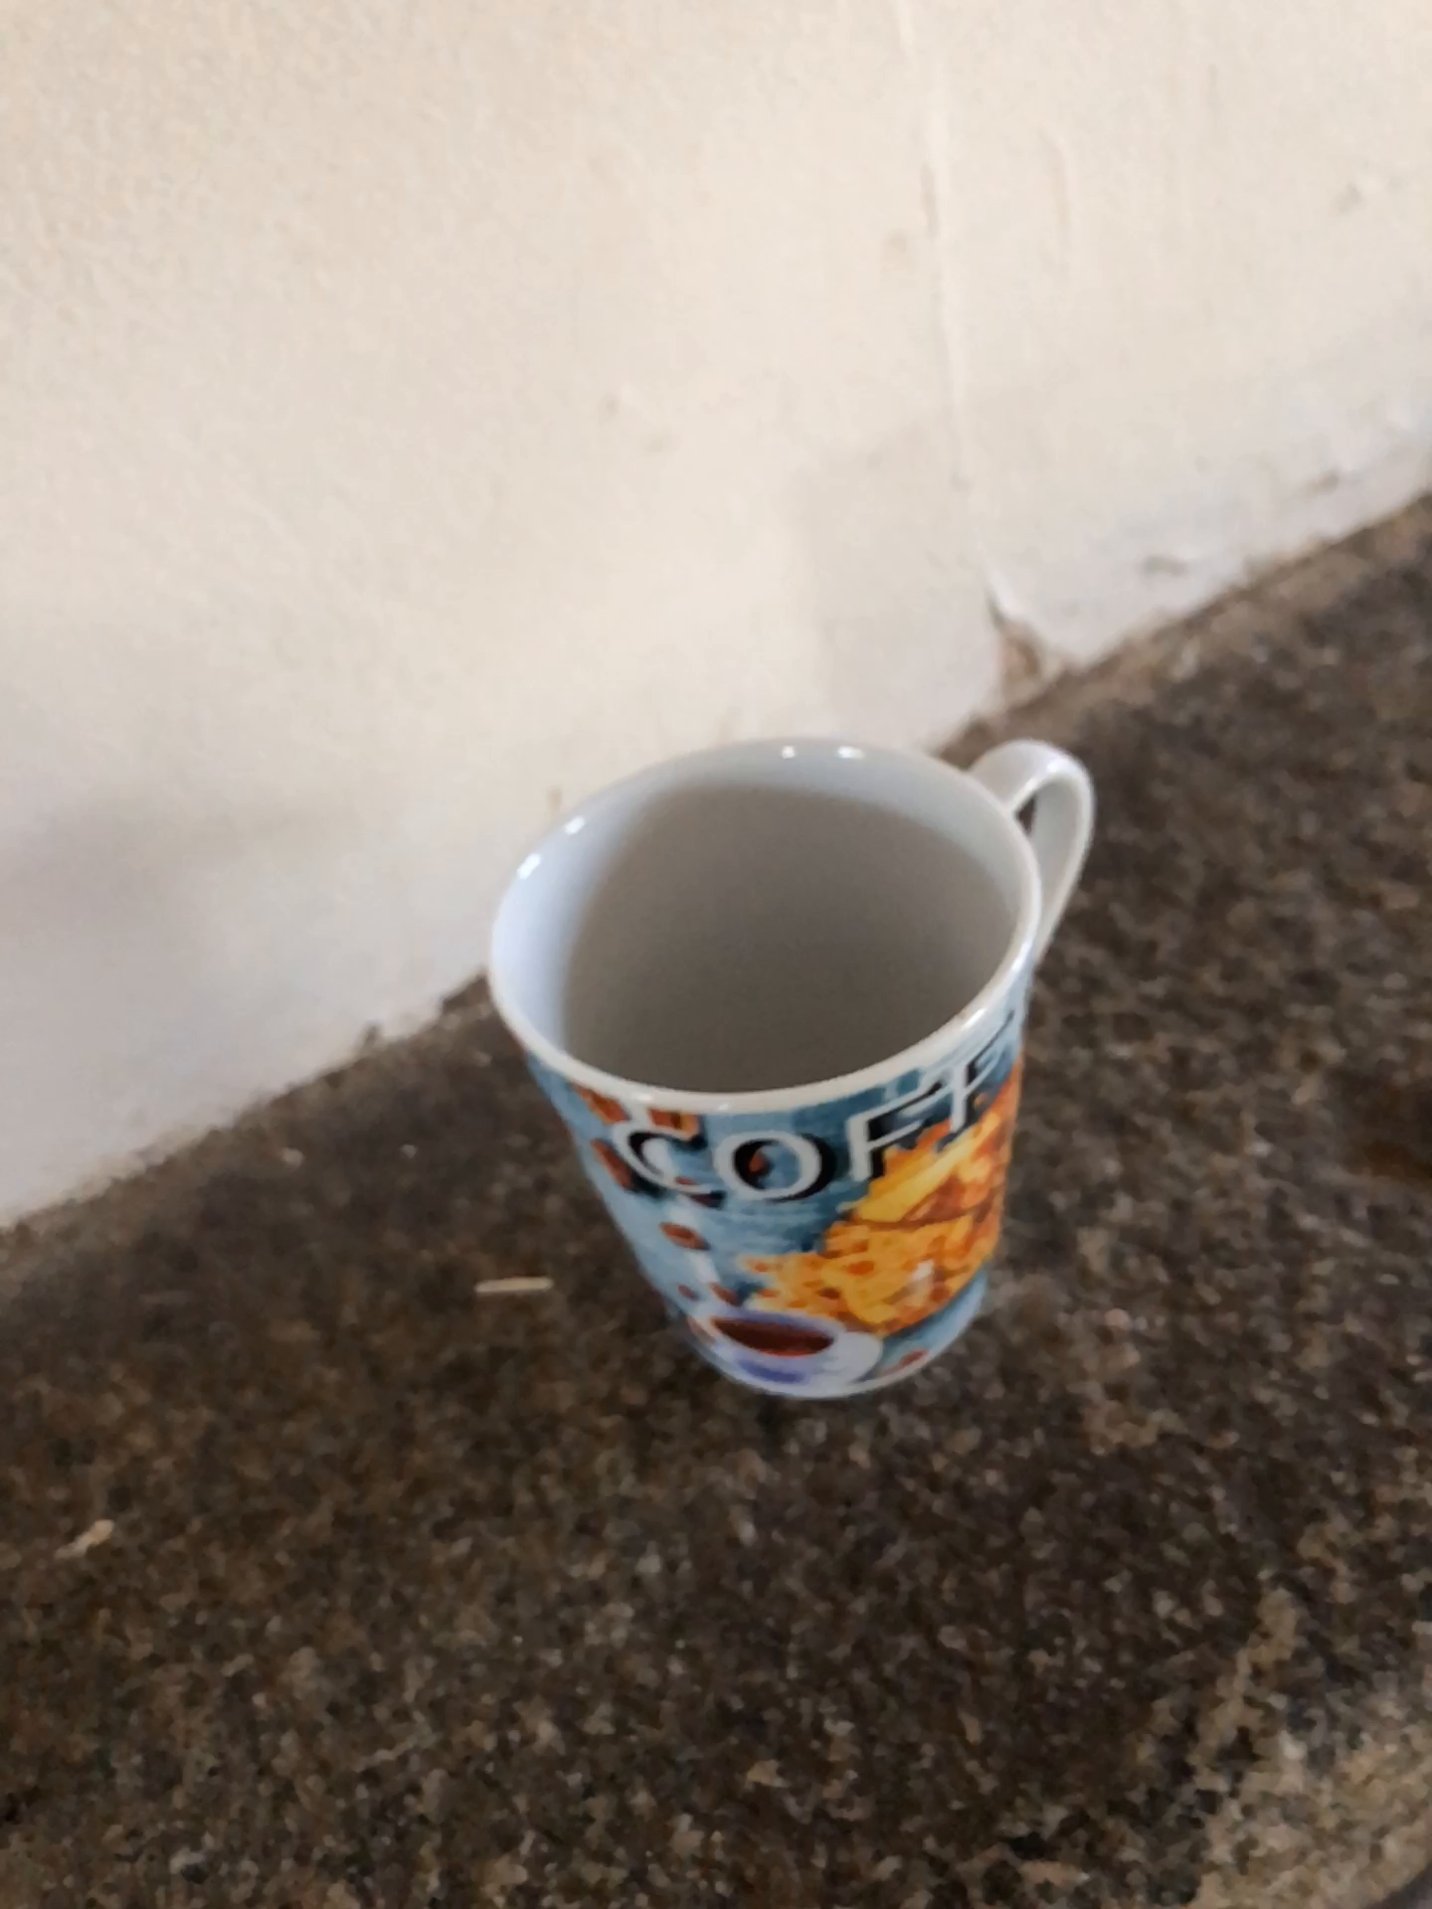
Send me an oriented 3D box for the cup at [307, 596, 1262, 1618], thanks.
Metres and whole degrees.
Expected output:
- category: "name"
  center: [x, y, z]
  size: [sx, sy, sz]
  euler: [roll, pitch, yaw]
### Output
- category: "cup"
  center: [0.013, 0.012, 0.184]
  size: [0.060, 0.060, 0.080]
  euler: [26, 56, 35]
